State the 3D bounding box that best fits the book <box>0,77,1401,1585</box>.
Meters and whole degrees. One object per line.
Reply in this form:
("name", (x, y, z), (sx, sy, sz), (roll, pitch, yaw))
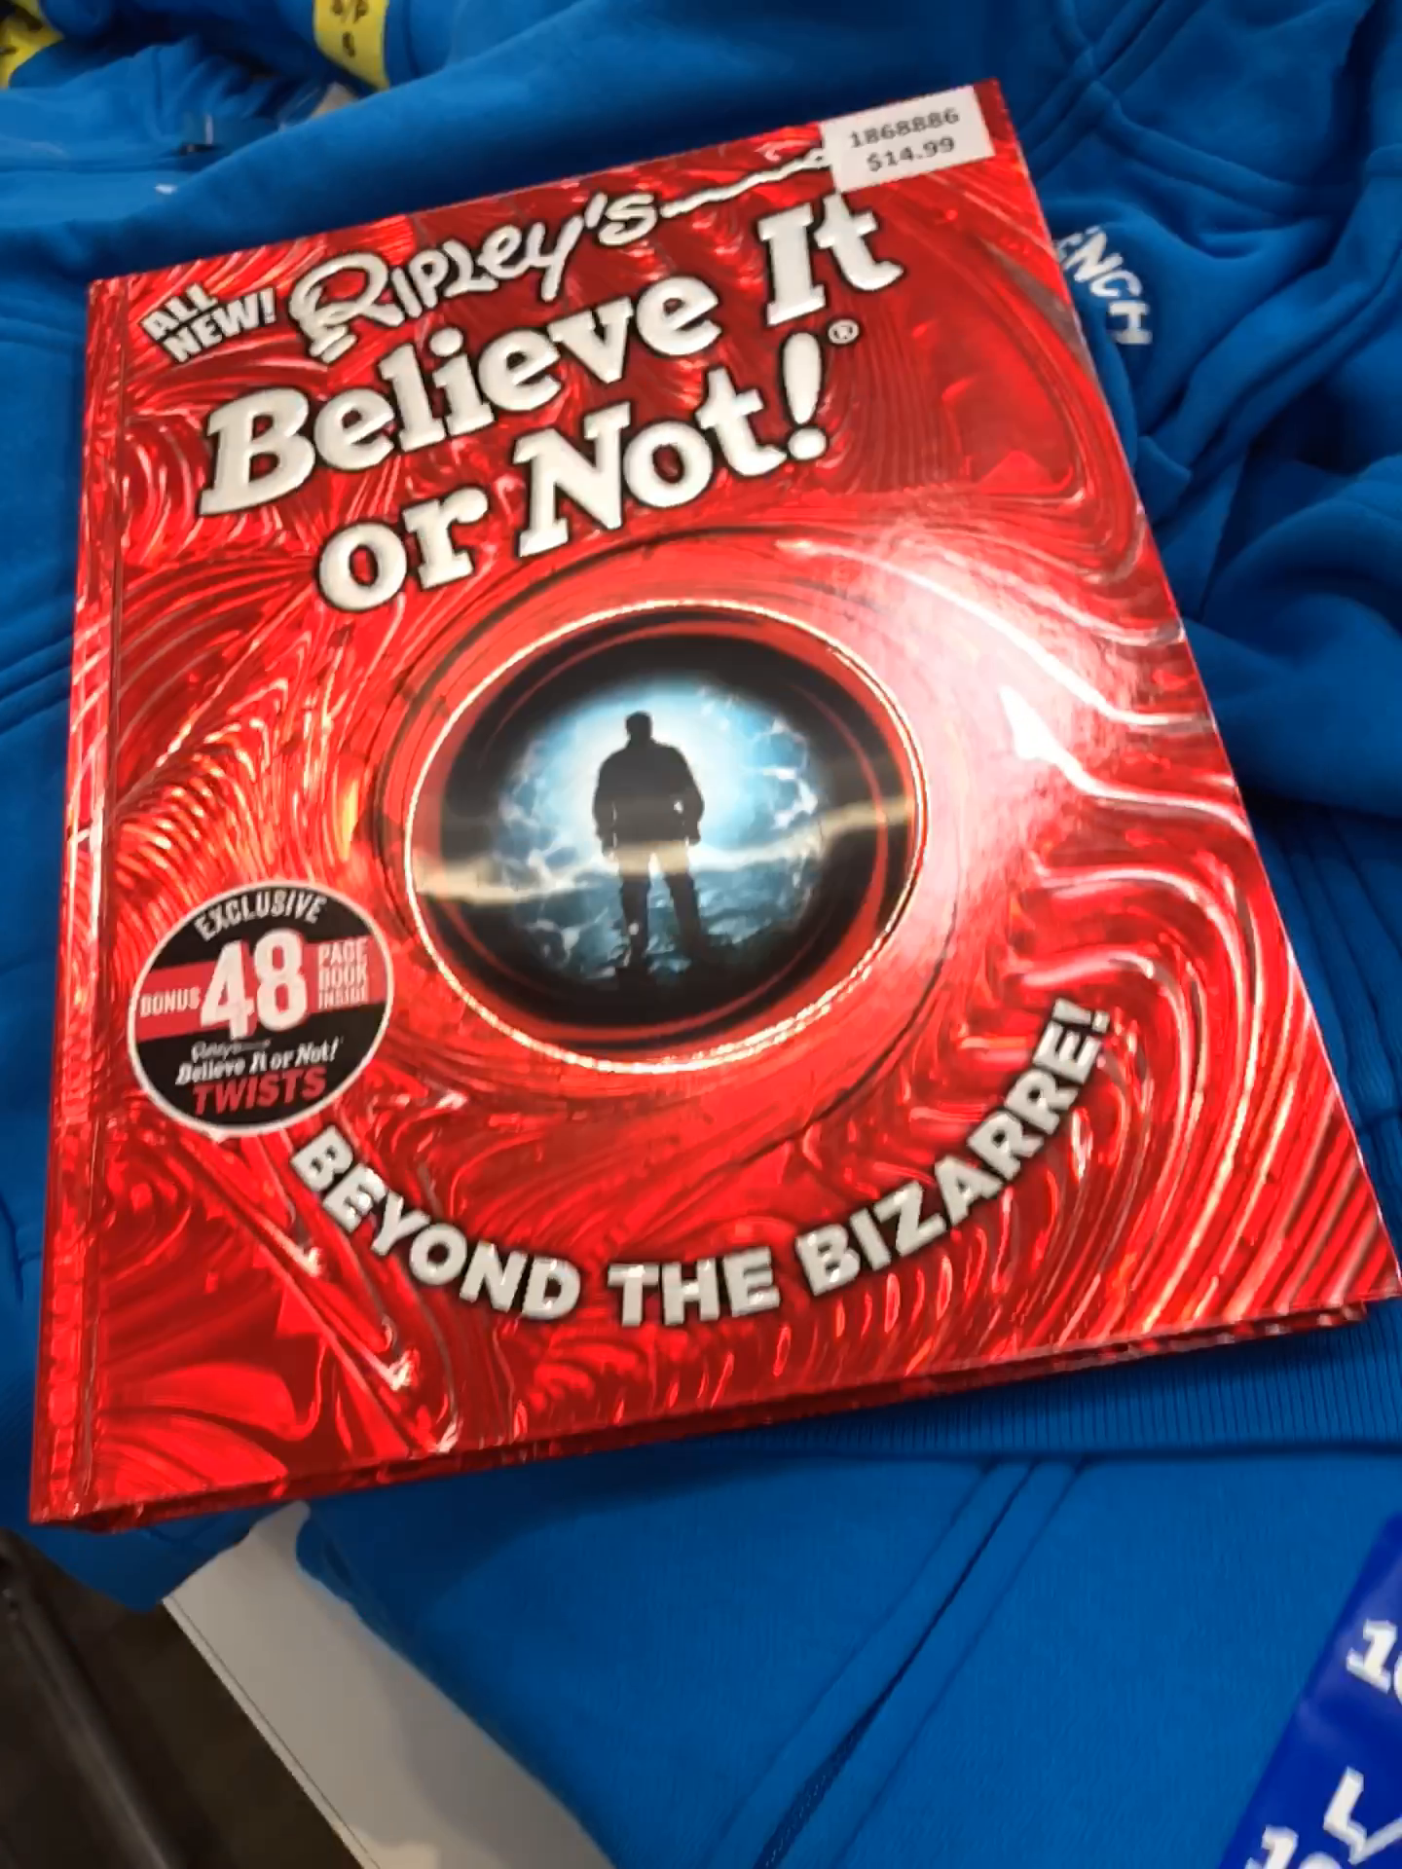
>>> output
("book", (-0.026, -0.043, 0.334), (0.244, 0.028, 0.304), (-10, 65, 4))
